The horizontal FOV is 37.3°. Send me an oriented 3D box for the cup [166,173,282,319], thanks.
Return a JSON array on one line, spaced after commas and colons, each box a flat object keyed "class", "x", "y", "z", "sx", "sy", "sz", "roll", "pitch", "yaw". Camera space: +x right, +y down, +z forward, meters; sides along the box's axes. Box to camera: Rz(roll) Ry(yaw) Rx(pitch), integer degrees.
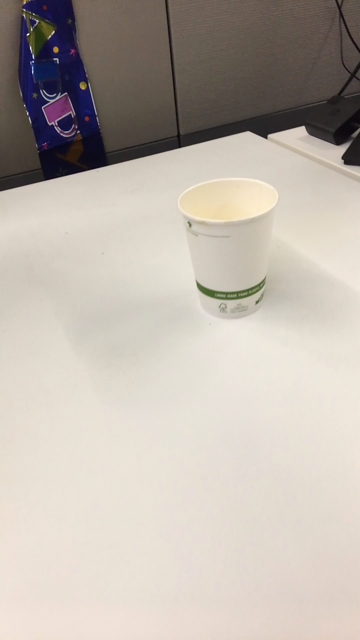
[{"class": "cup", "x": 0.043, "y": -0.066, "z": 0.474, "sx": 0.090, "sy": 0.100, "sz": 0.080, "roll": 2, "pitch": 36, "yaw": 10}]
